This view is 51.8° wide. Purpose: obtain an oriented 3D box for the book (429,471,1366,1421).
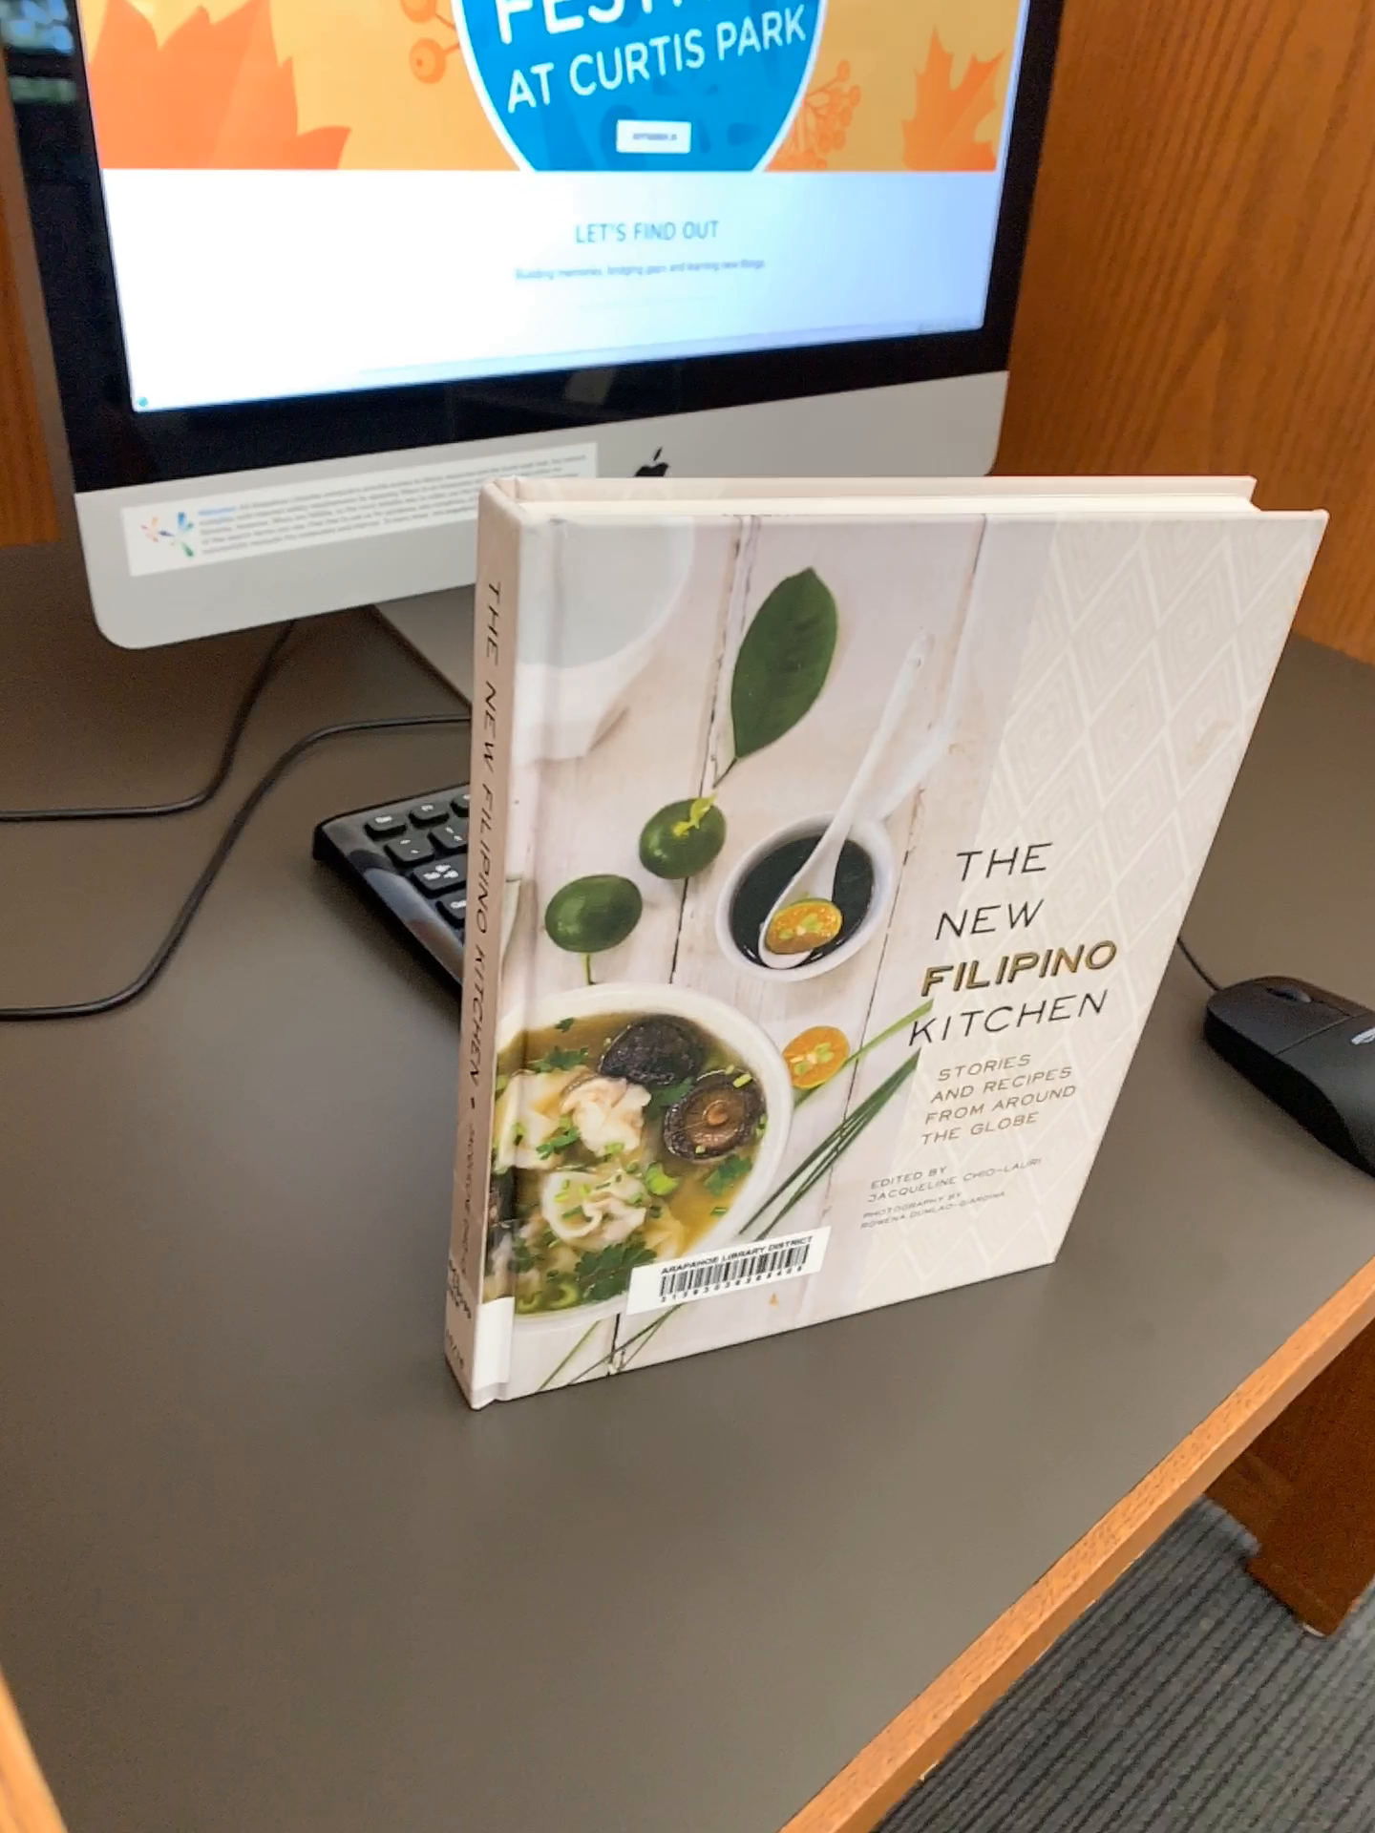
[{"bbox_3d":[0.038,0.012,0.342,0.193,0.229,0.030,-7,36,-22],"label":"book"}]
